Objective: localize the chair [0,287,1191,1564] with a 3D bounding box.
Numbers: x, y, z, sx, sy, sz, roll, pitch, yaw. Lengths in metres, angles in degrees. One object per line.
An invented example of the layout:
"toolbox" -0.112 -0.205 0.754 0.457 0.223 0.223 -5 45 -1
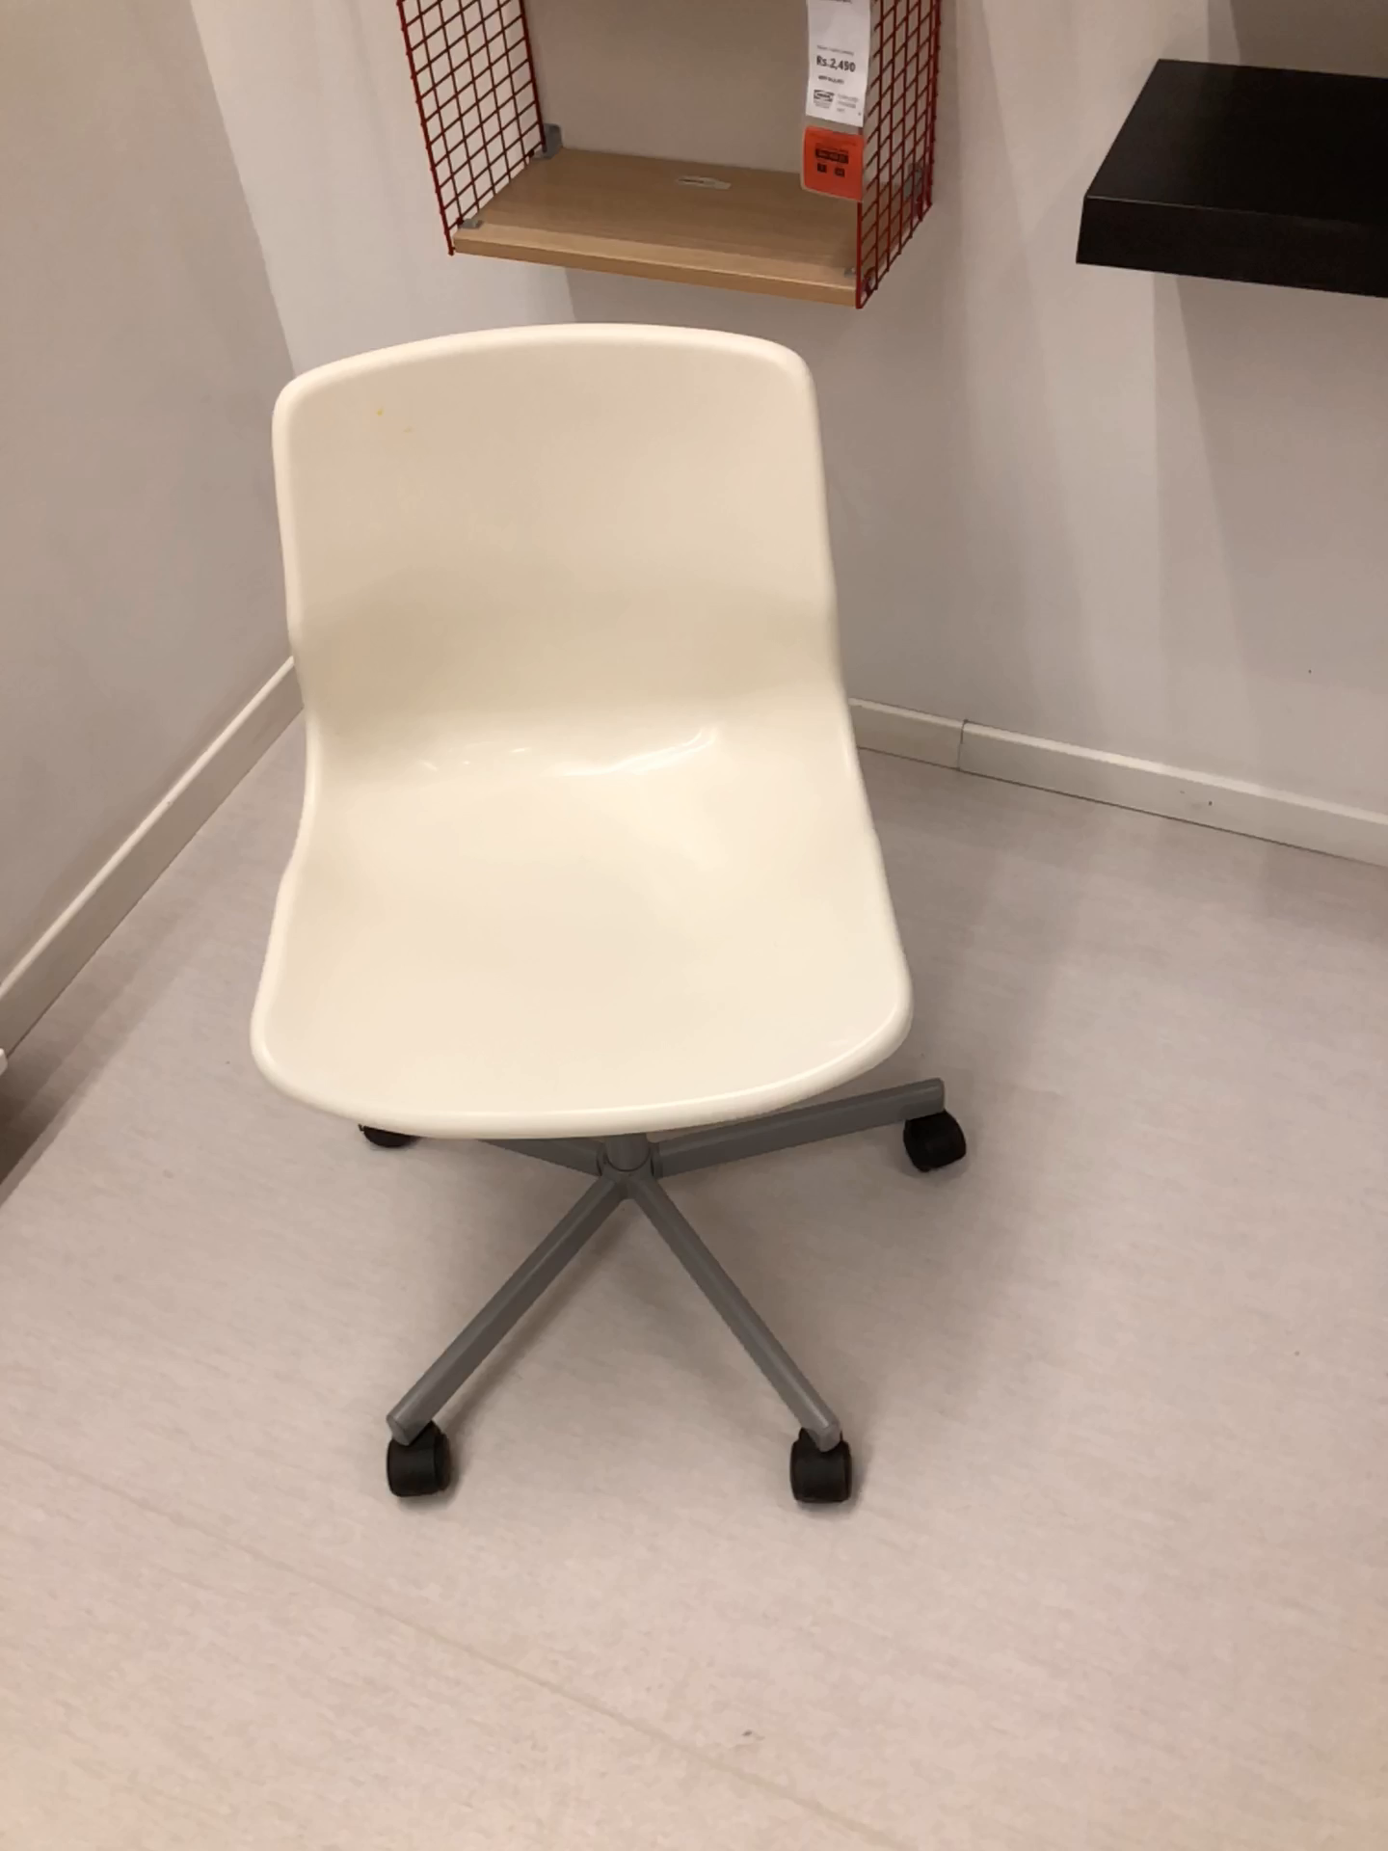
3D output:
"chair" -0.078 0.027 1.138 0.620 0.686 0.624 -3 49 2
